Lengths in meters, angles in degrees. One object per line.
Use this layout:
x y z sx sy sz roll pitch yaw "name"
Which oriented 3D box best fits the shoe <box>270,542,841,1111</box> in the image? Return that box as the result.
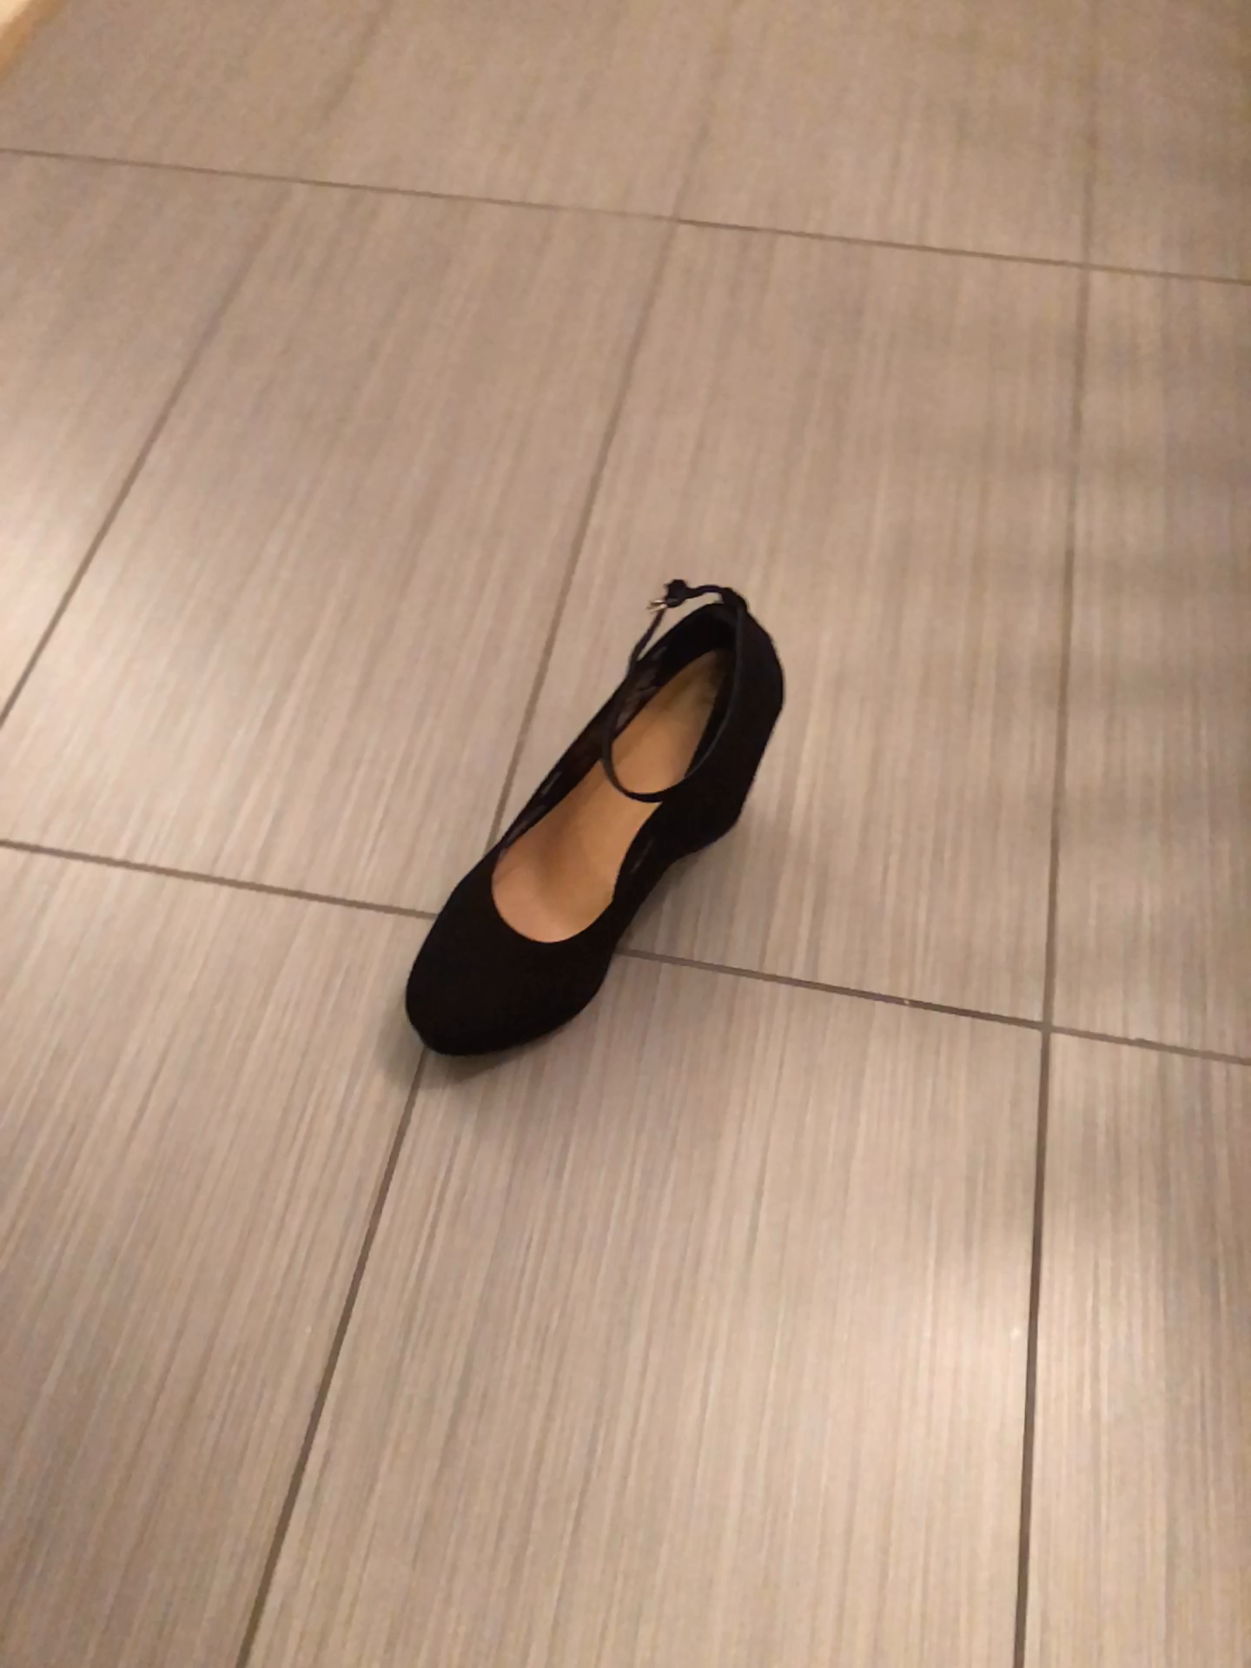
-0.025 -0.004 0.658 0.241 0.140 0.100 -37 64 -20 "shoe"
